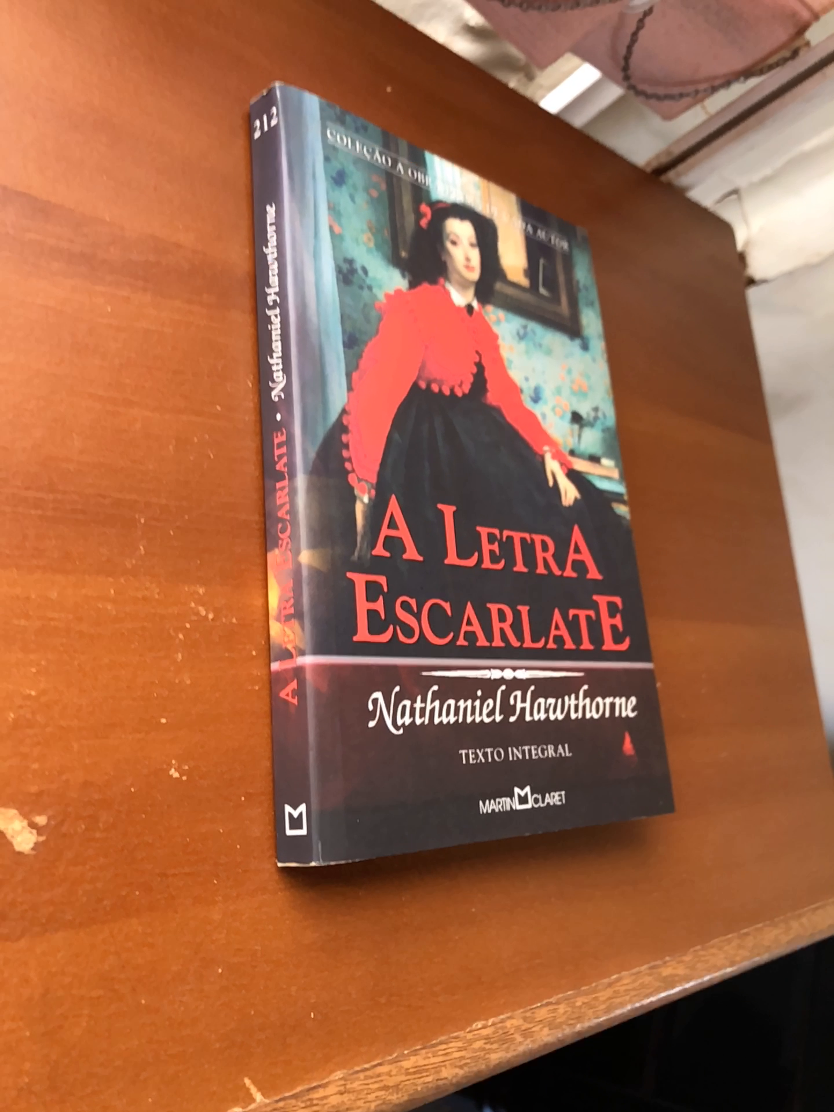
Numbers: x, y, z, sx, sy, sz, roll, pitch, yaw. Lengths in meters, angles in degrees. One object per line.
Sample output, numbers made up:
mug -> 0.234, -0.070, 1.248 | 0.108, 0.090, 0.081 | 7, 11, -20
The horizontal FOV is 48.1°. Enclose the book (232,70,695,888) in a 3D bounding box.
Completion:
book -> 0.013, -0.017, 0.220 | 0.112, 0.015, 0.166 | 7, 71, -39
